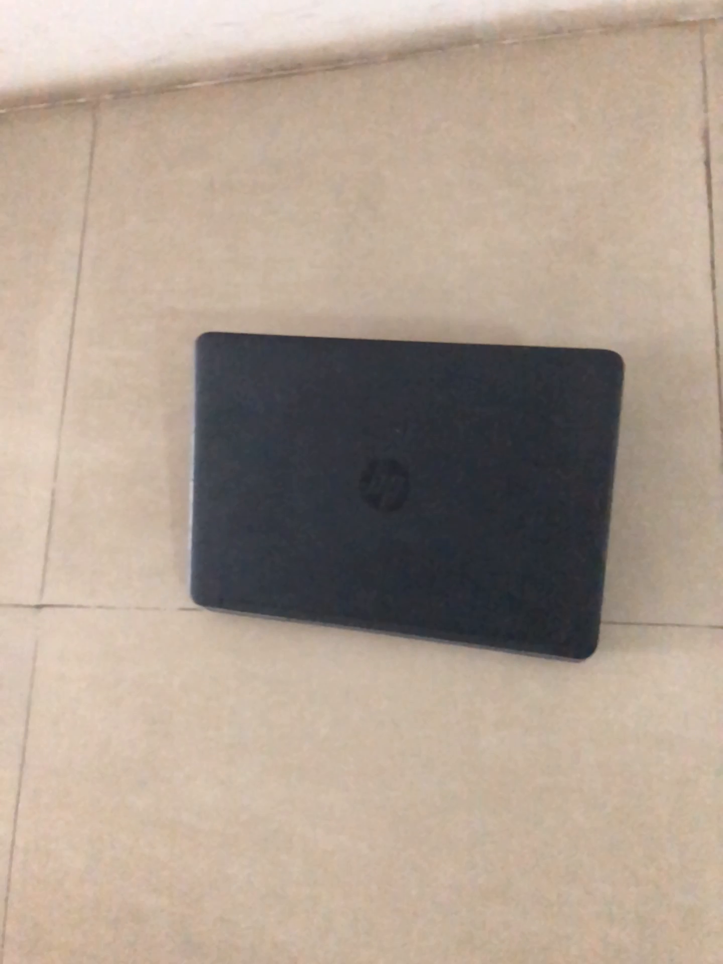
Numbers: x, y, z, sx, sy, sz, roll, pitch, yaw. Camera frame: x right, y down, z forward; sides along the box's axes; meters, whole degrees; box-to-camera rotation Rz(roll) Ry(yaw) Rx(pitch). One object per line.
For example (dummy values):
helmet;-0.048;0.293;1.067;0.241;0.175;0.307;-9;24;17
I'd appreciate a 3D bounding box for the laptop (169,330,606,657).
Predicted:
laptop;0.022;0.006;0.630;0.304;0.085;0.214;6;83;14
